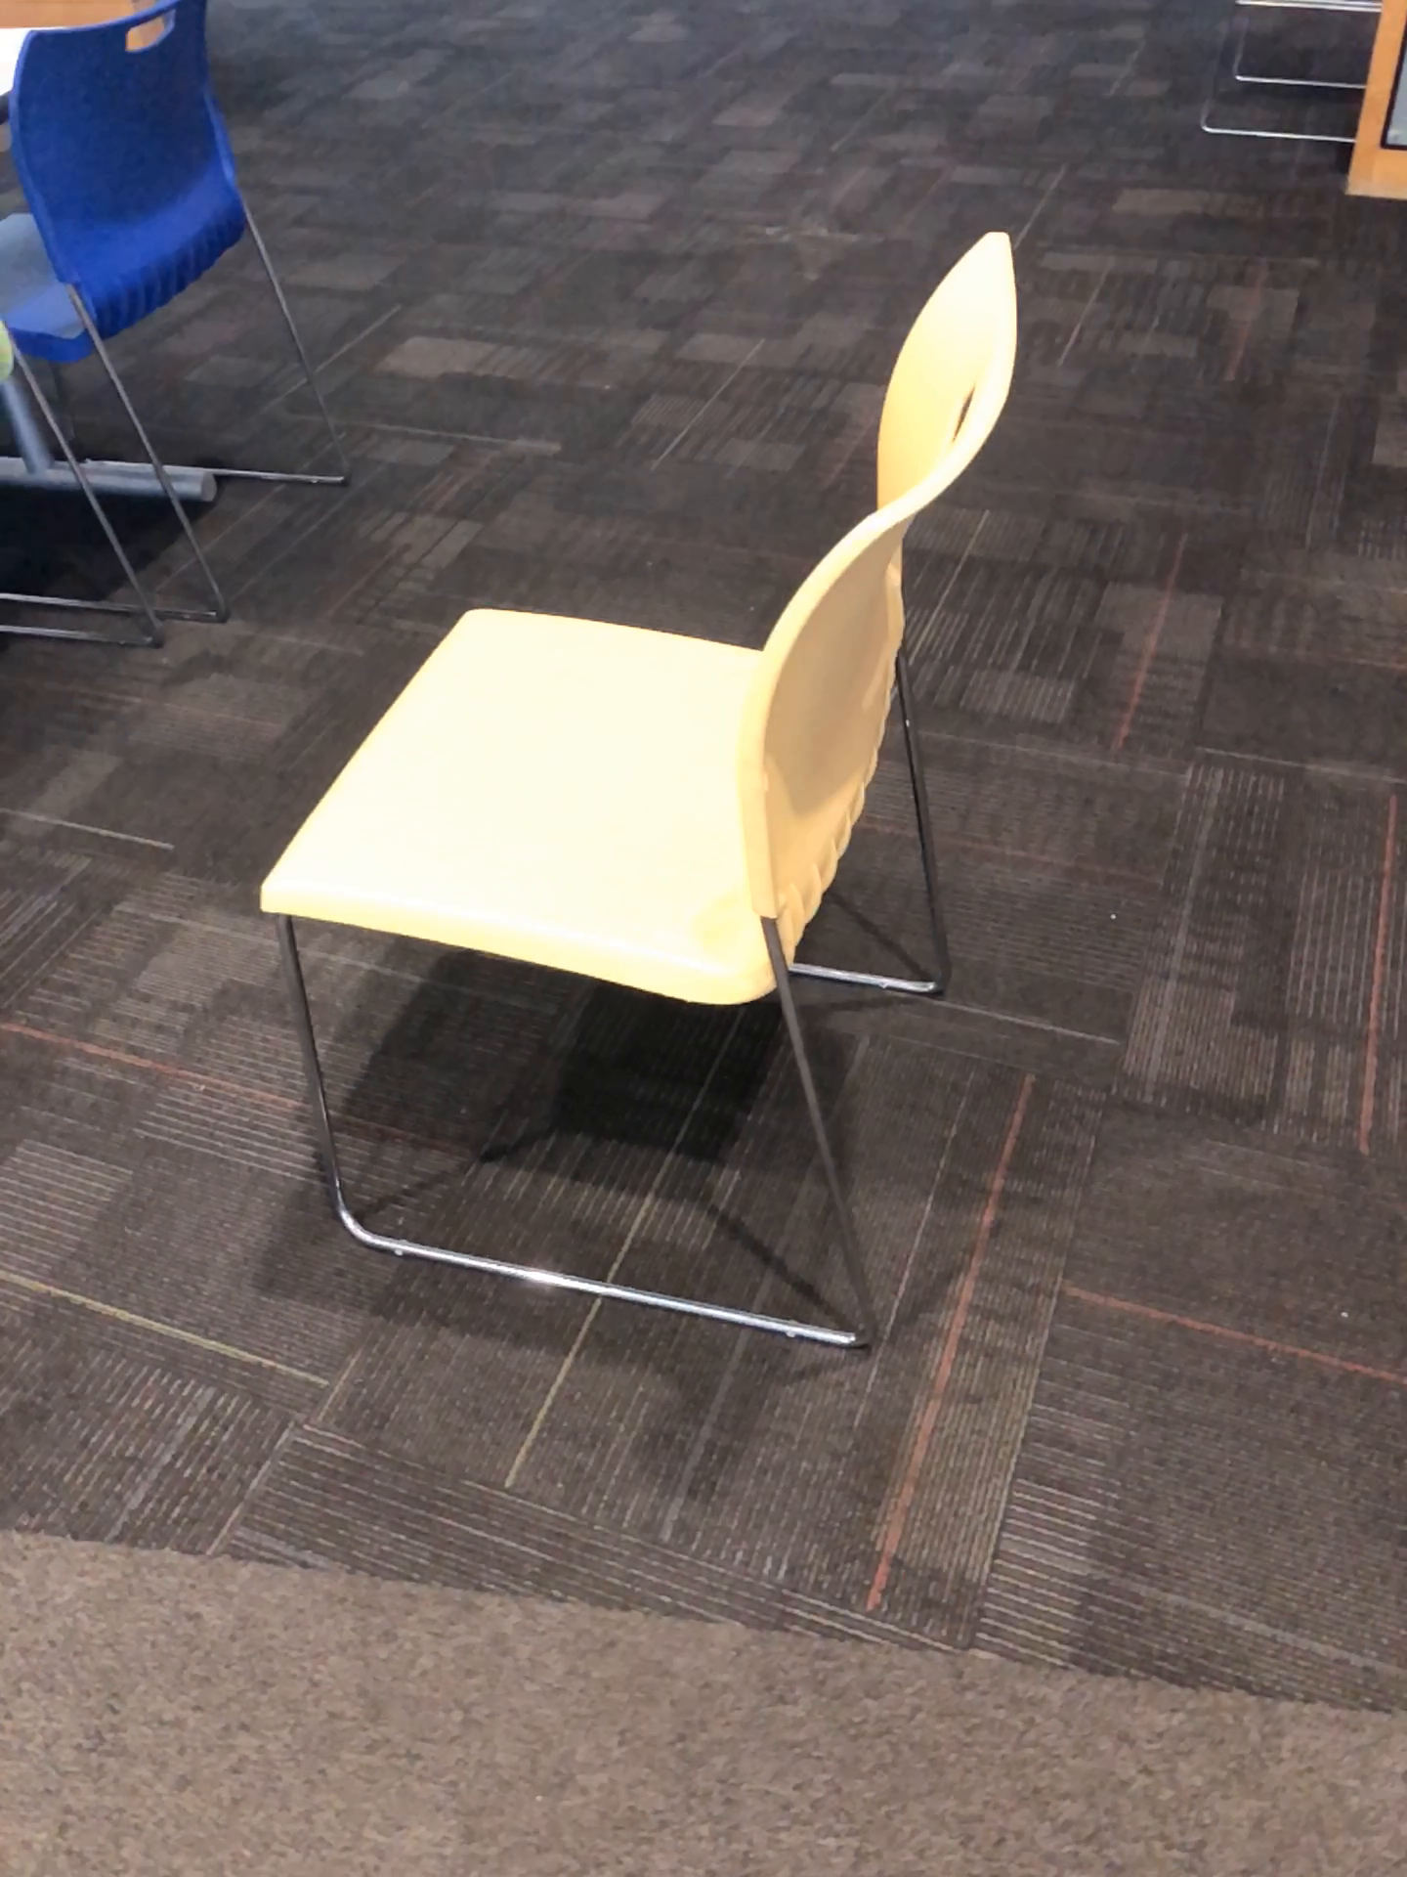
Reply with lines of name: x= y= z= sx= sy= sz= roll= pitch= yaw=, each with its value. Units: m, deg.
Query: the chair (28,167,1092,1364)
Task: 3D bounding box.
chair: x=-0.031 y=-0.155 z=1.294 sx=0.561 sy=0.736 sz=0.572 roll=9 pitch=43 yaw=14
